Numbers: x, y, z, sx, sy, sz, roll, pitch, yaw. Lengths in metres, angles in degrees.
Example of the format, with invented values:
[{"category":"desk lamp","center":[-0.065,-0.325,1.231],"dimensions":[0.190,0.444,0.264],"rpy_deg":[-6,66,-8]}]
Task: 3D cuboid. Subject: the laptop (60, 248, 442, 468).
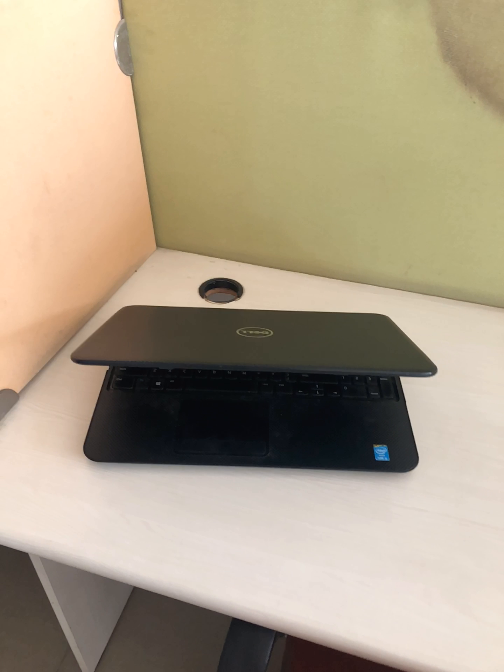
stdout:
[{"category":"laptop","center":[0.001,0.014,0.658],"dimensions":[0.366,0.106,0.248],"rpy_deg":[2,41,0]}]
